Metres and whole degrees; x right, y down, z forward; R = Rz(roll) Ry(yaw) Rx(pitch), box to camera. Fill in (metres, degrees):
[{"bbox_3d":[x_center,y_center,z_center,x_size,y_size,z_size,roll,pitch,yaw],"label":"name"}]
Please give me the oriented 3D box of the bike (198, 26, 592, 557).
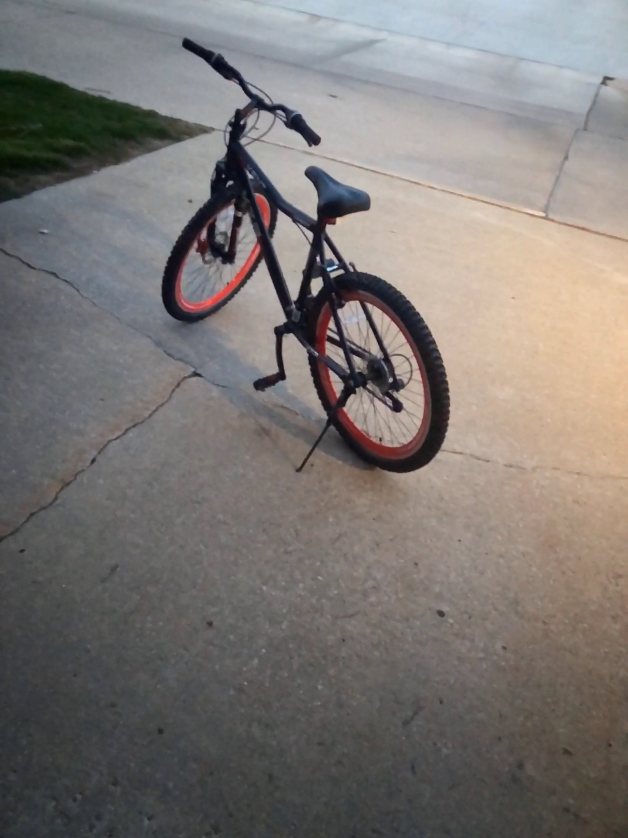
[{"bbox_3d":[0.086,-0.546,2.272,0.599,1.031,1.427,-9,41,-24],"label":"bike"}]
